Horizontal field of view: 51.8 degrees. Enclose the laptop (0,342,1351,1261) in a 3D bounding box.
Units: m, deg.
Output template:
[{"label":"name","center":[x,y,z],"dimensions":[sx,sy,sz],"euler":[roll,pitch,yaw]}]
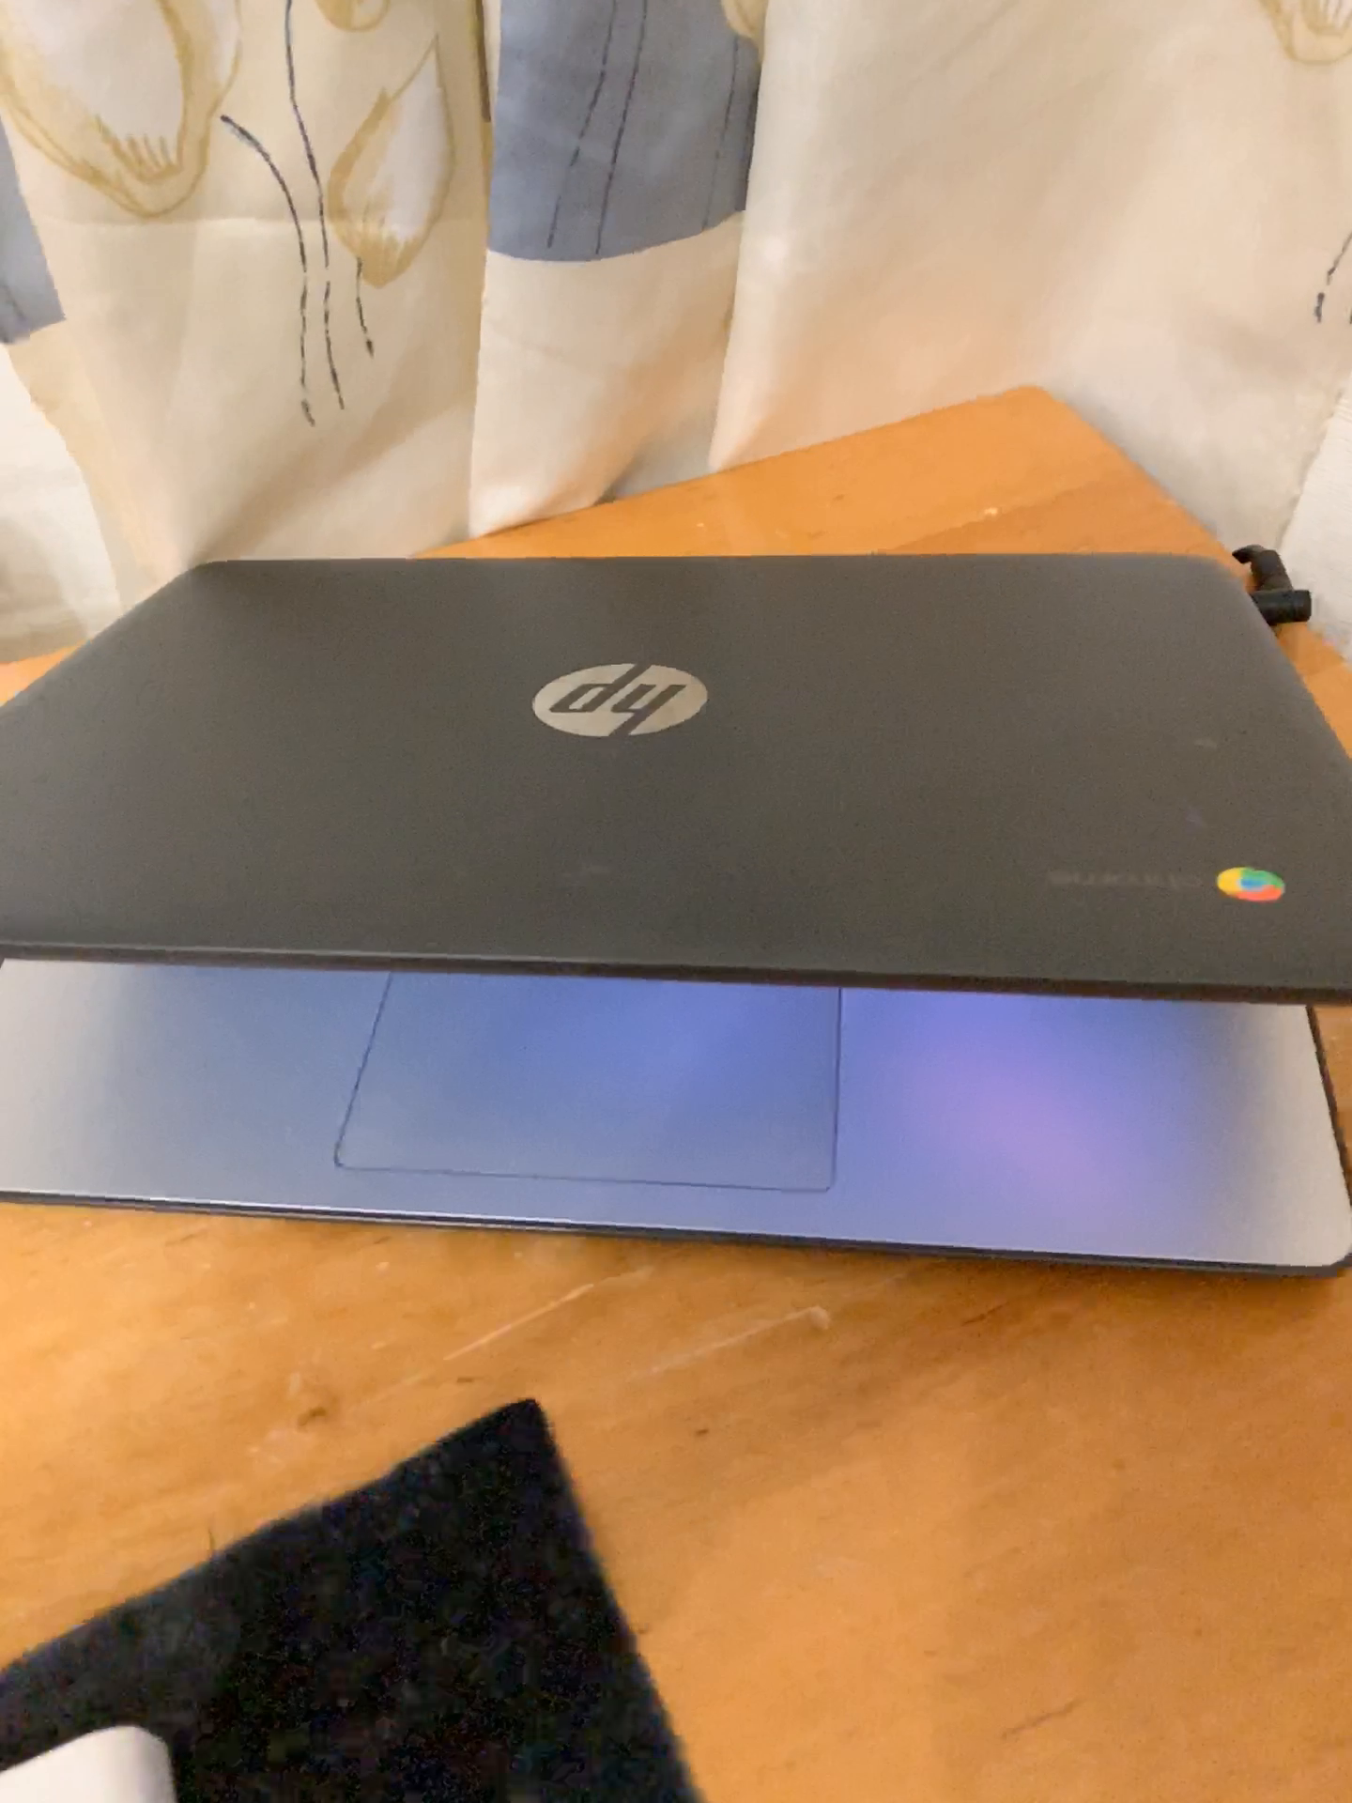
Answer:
[{"label":"laptop","center":[-0.010,-0.036,0.294],"dimensions":[0.268,0.066,0.191],"euler":[2,49,8]}]
